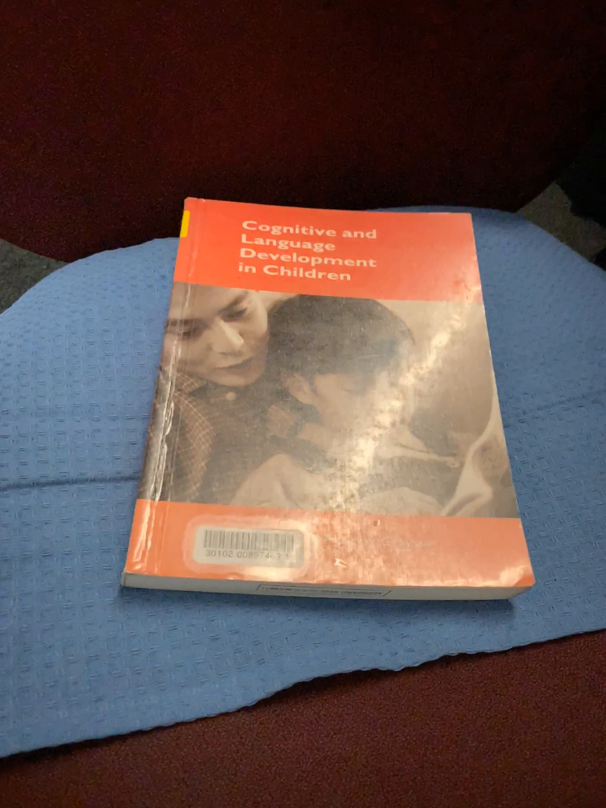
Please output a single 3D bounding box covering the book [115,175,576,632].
[{"bbox_3d":[0.019,-0.016,0.363,0.200,0.060,0.272,1,60,0],"label":"book"}]
